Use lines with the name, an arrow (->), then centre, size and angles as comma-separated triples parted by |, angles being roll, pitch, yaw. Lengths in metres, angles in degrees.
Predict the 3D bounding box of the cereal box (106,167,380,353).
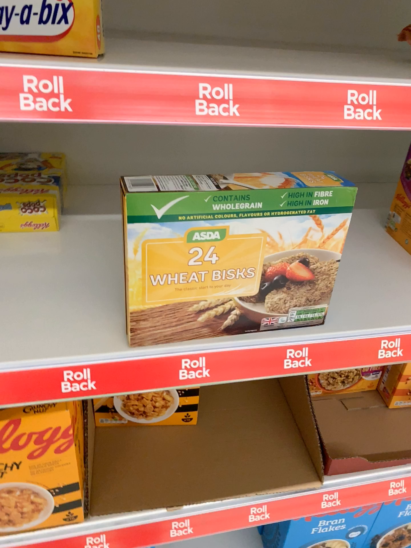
cereal box -> 0.035, -0.019, 0.466 | 0.270, 0.178, 0.061 | -5, 33, -16
